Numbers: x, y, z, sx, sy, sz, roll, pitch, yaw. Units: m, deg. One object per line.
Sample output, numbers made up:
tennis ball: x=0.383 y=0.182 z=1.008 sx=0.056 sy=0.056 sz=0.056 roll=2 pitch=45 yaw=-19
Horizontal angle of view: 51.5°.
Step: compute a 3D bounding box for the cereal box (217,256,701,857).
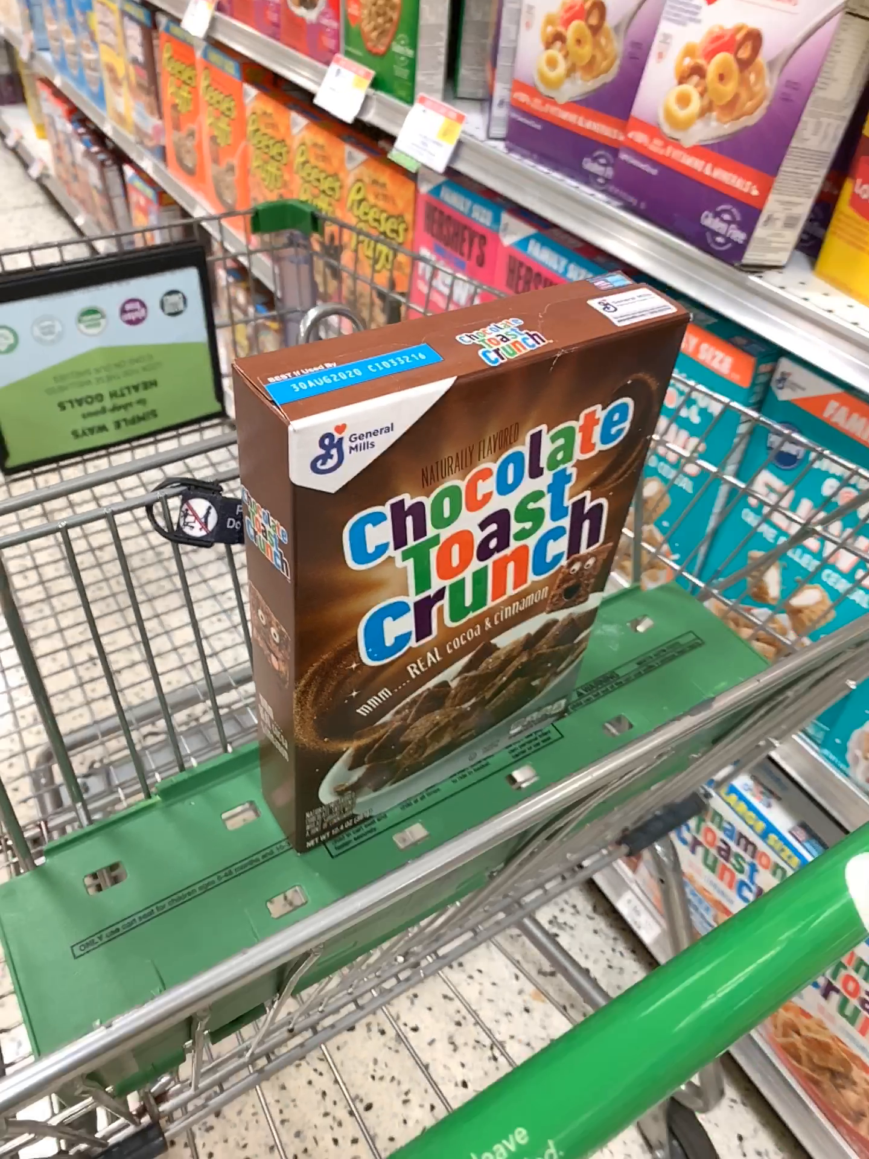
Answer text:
cereal box: x=0.006 y=-0.001 z=0.451 sx=0.201 sy=0.277 sz=0.050 roll=-22 pitch=50 yaw=-27
